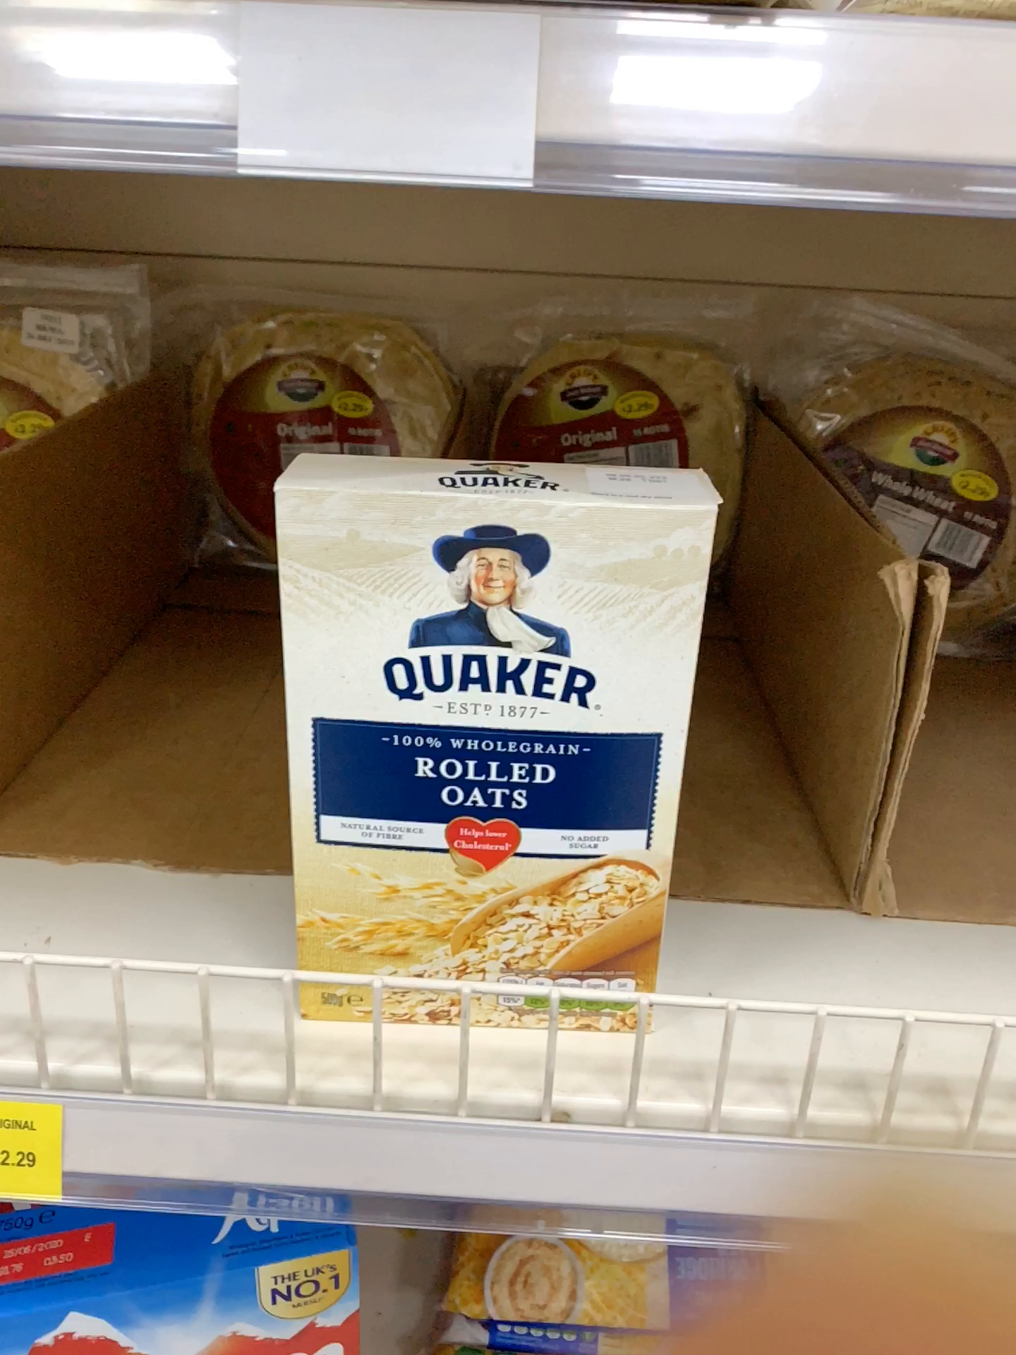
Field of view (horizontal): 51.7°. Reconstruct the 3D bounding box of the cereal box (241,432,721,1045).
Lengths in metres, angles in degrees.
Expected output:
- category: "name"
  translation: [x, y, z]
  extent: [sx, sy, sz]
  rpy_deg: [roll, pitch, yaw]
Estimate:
- category: "cereal box"
  translation: [-0.013, 0.031, 0.397]
  extent: [0.150, 0.228, 0.050]
  rpy_deg: [2, 24, -1]
